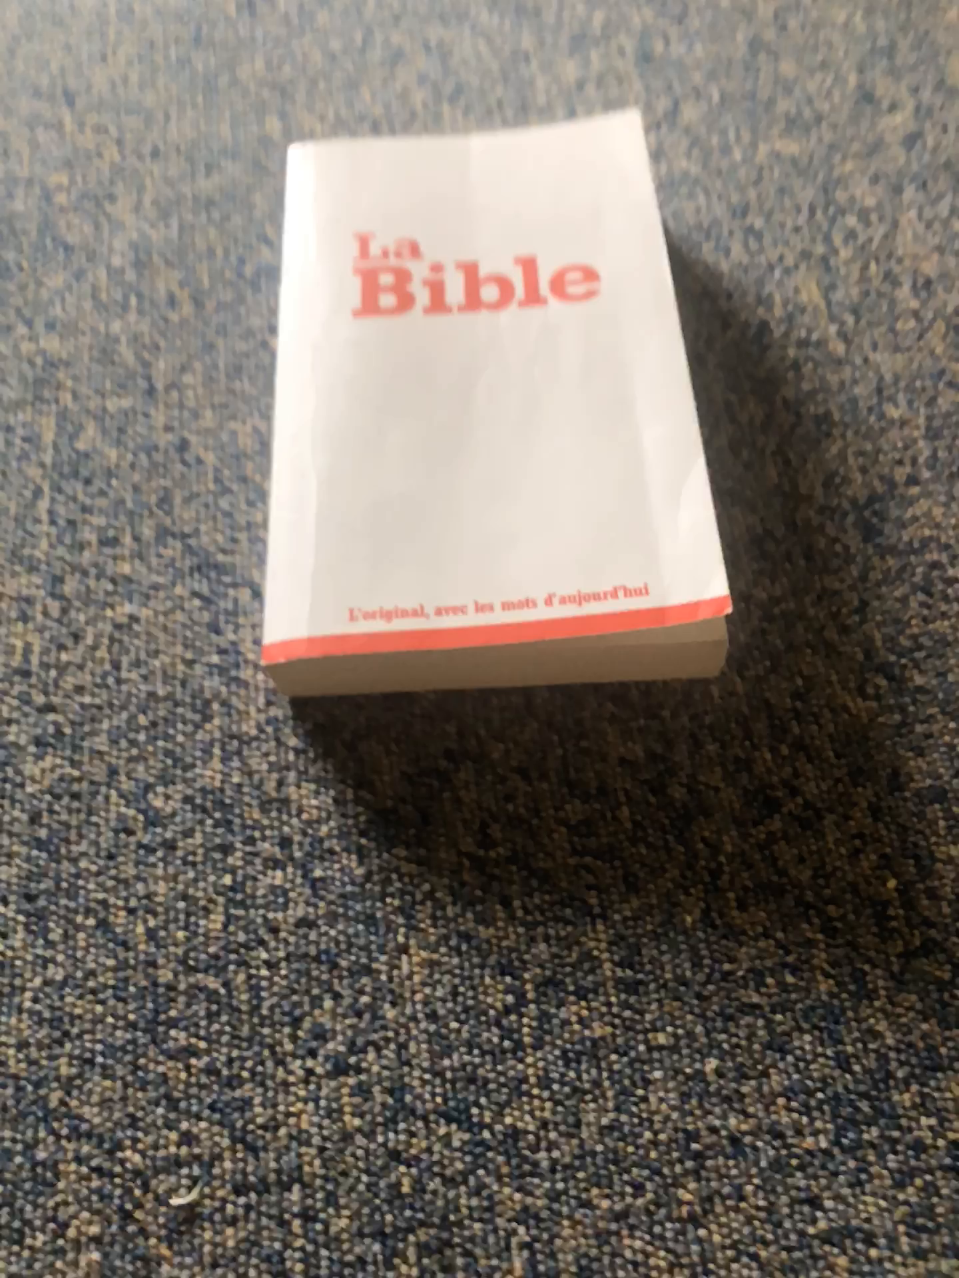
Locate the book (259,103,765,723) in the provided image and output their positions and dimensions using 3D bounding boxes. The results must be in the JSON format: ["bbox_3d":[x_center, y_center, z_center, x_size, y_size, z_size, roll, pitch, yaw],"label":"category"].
[{"bbox_3d":[0.003,-0.083,0.348,0.133,0.042,0.211,-4,63,-1],"label":"book"}]
